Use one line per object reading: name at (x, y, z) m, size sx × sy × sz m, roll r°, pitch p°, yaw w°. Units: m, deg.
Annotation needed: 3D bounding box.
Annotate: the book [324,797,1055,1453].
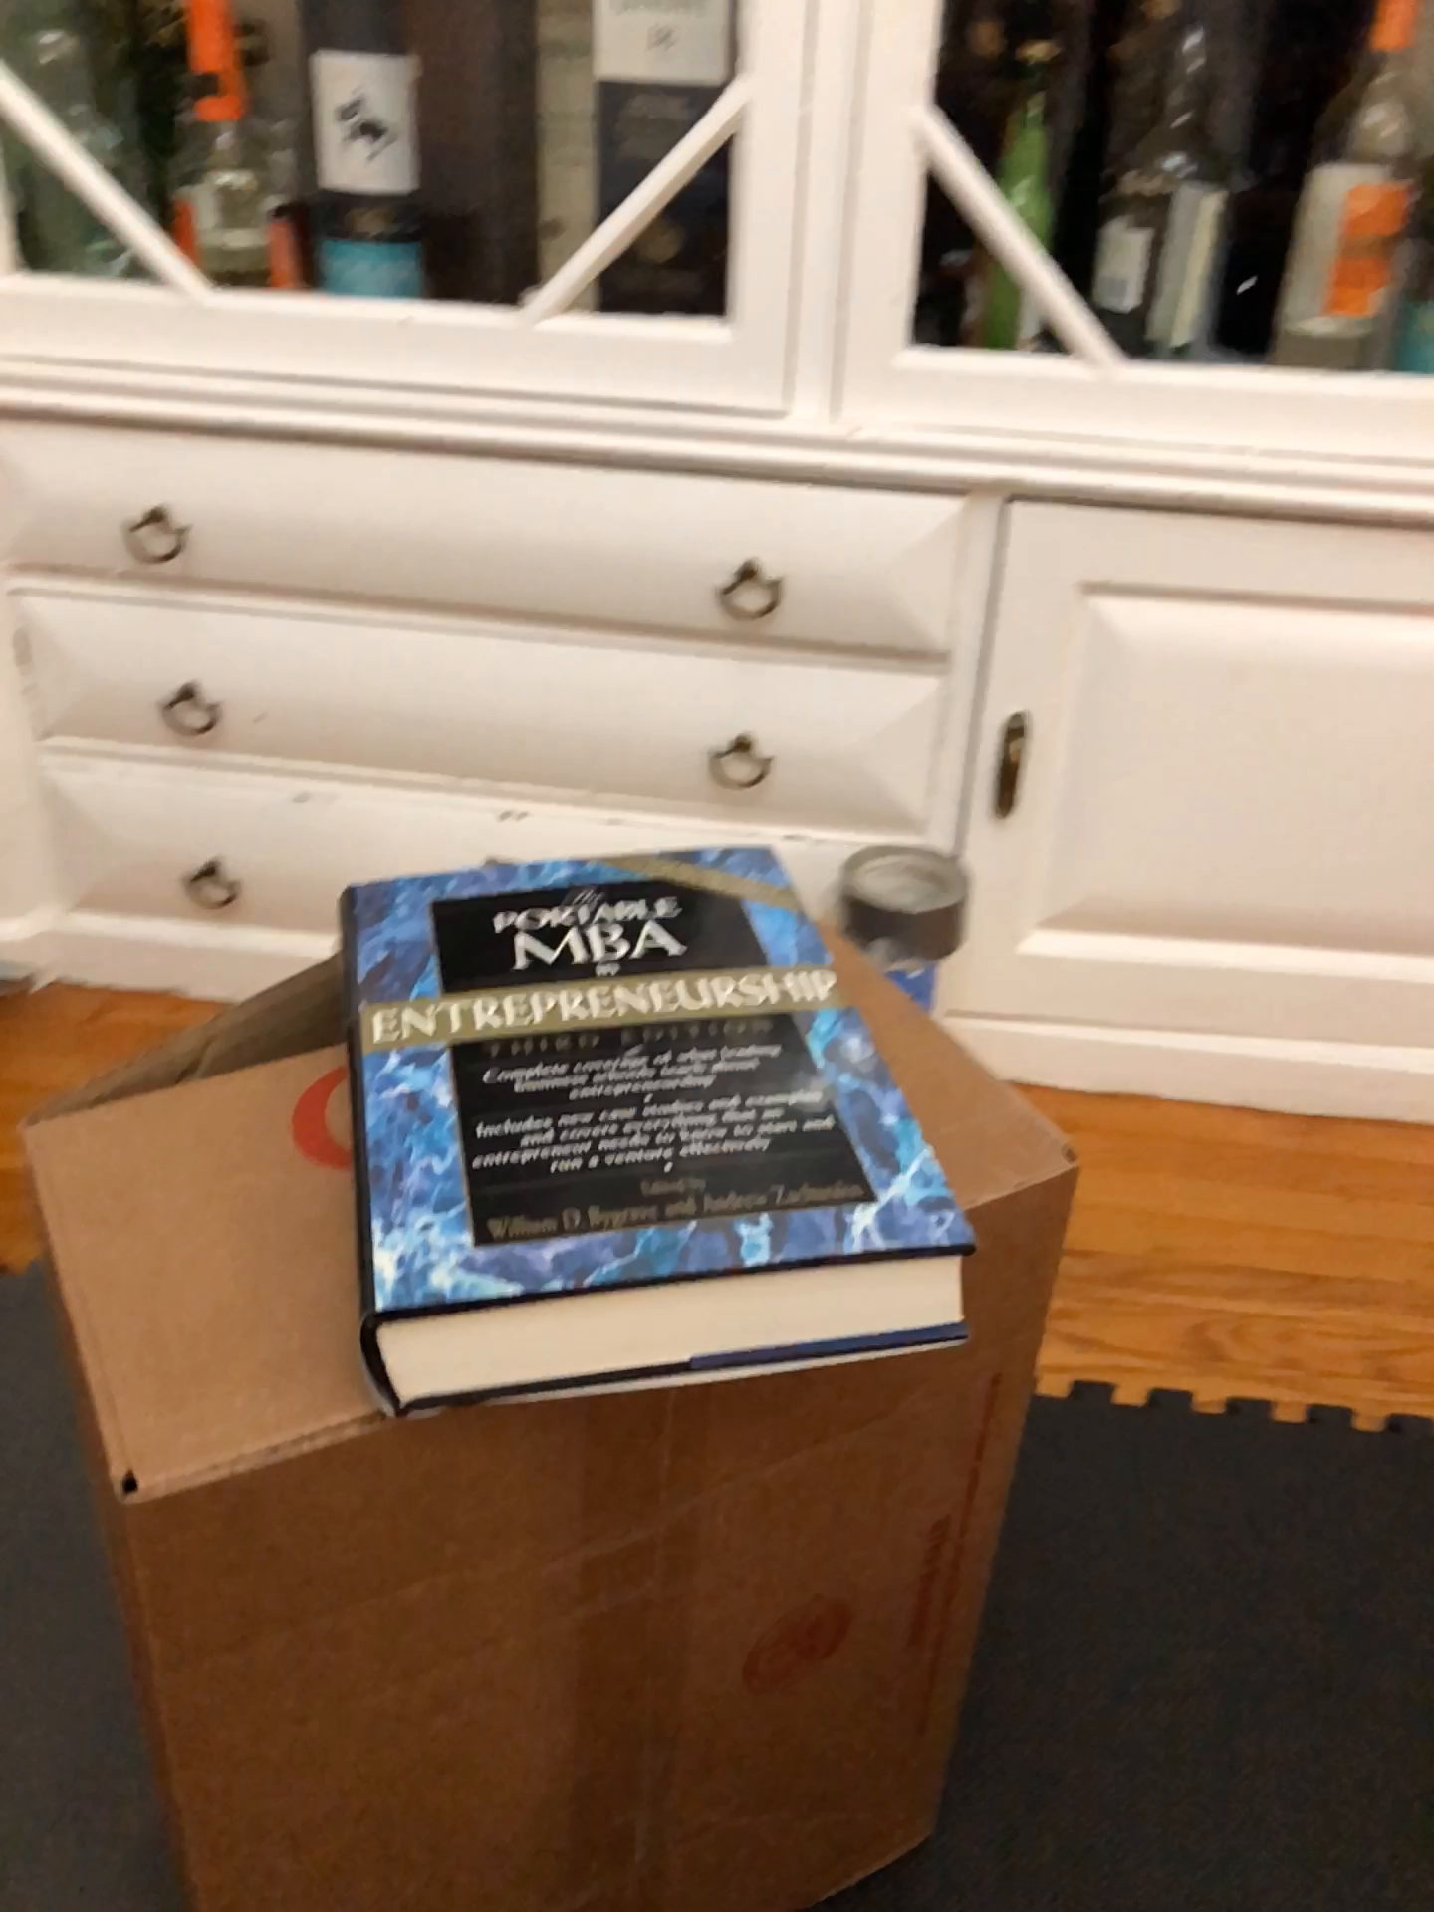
book at (-0.031, 0.038, 0.583) m, size 0.210 × 0.060 × 0.272 m, roll -5°, pitch 34°, yaw -12°
